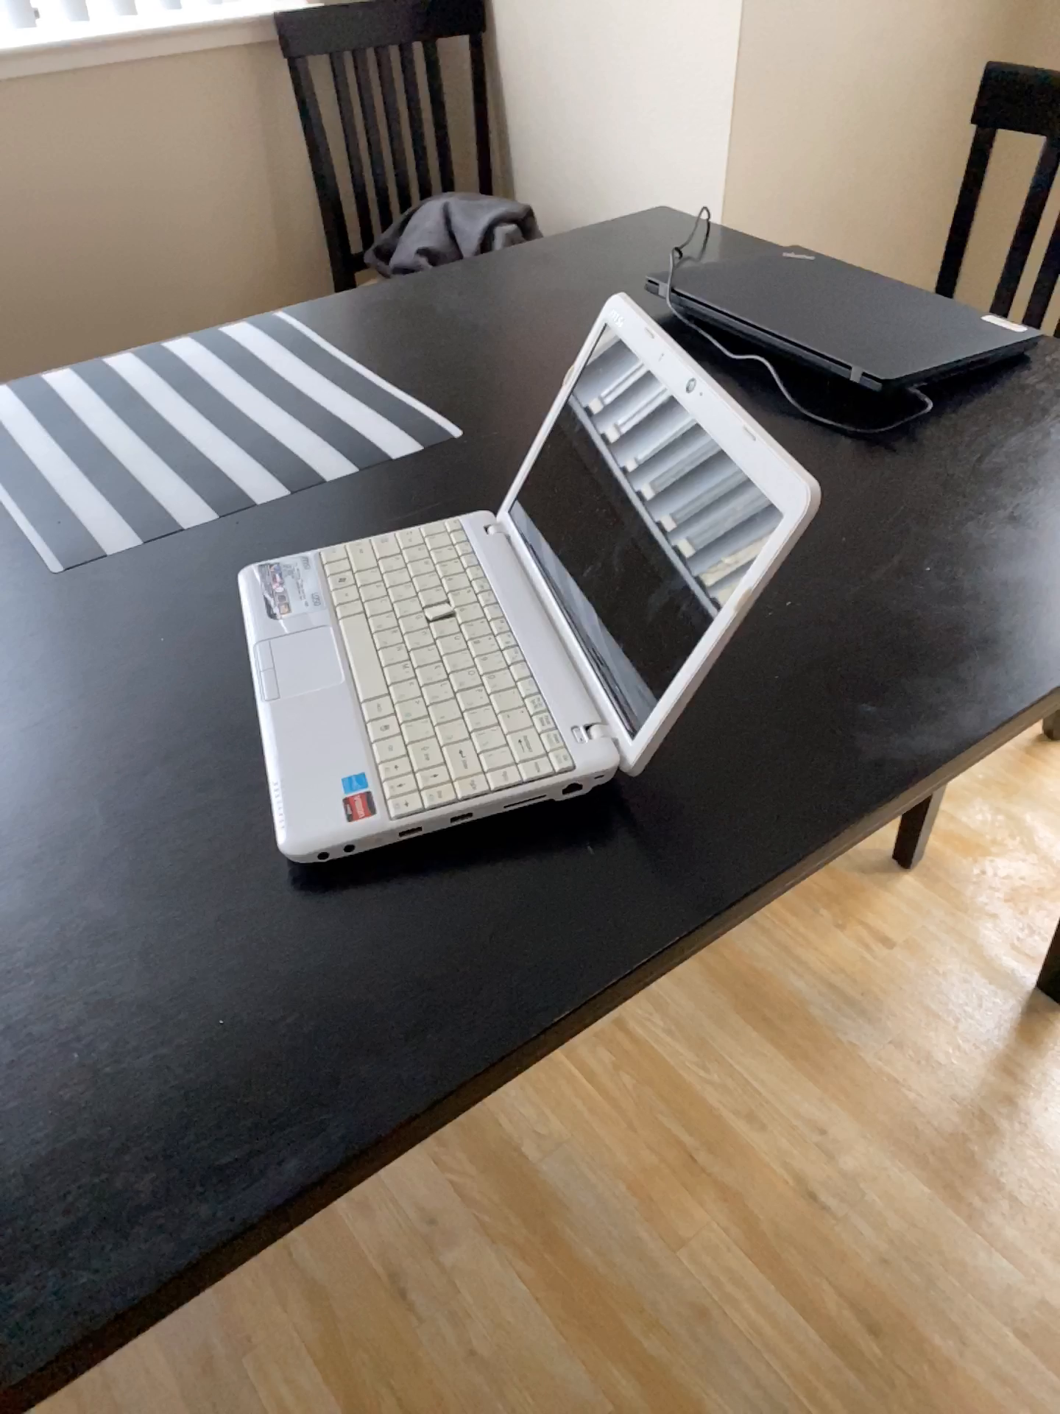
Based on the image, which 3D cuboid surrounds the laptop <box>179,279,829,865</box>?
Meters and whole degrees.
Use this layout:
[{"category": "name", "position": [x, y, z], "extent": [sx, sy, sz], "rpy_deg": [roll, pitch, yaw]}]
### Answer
[{"category": "laptop", "position": [-0.039, -0.105, 0.656], "extent": [0.301, 0.153, 0.296], "rpy_deg": [-14, 42, -9]}]
